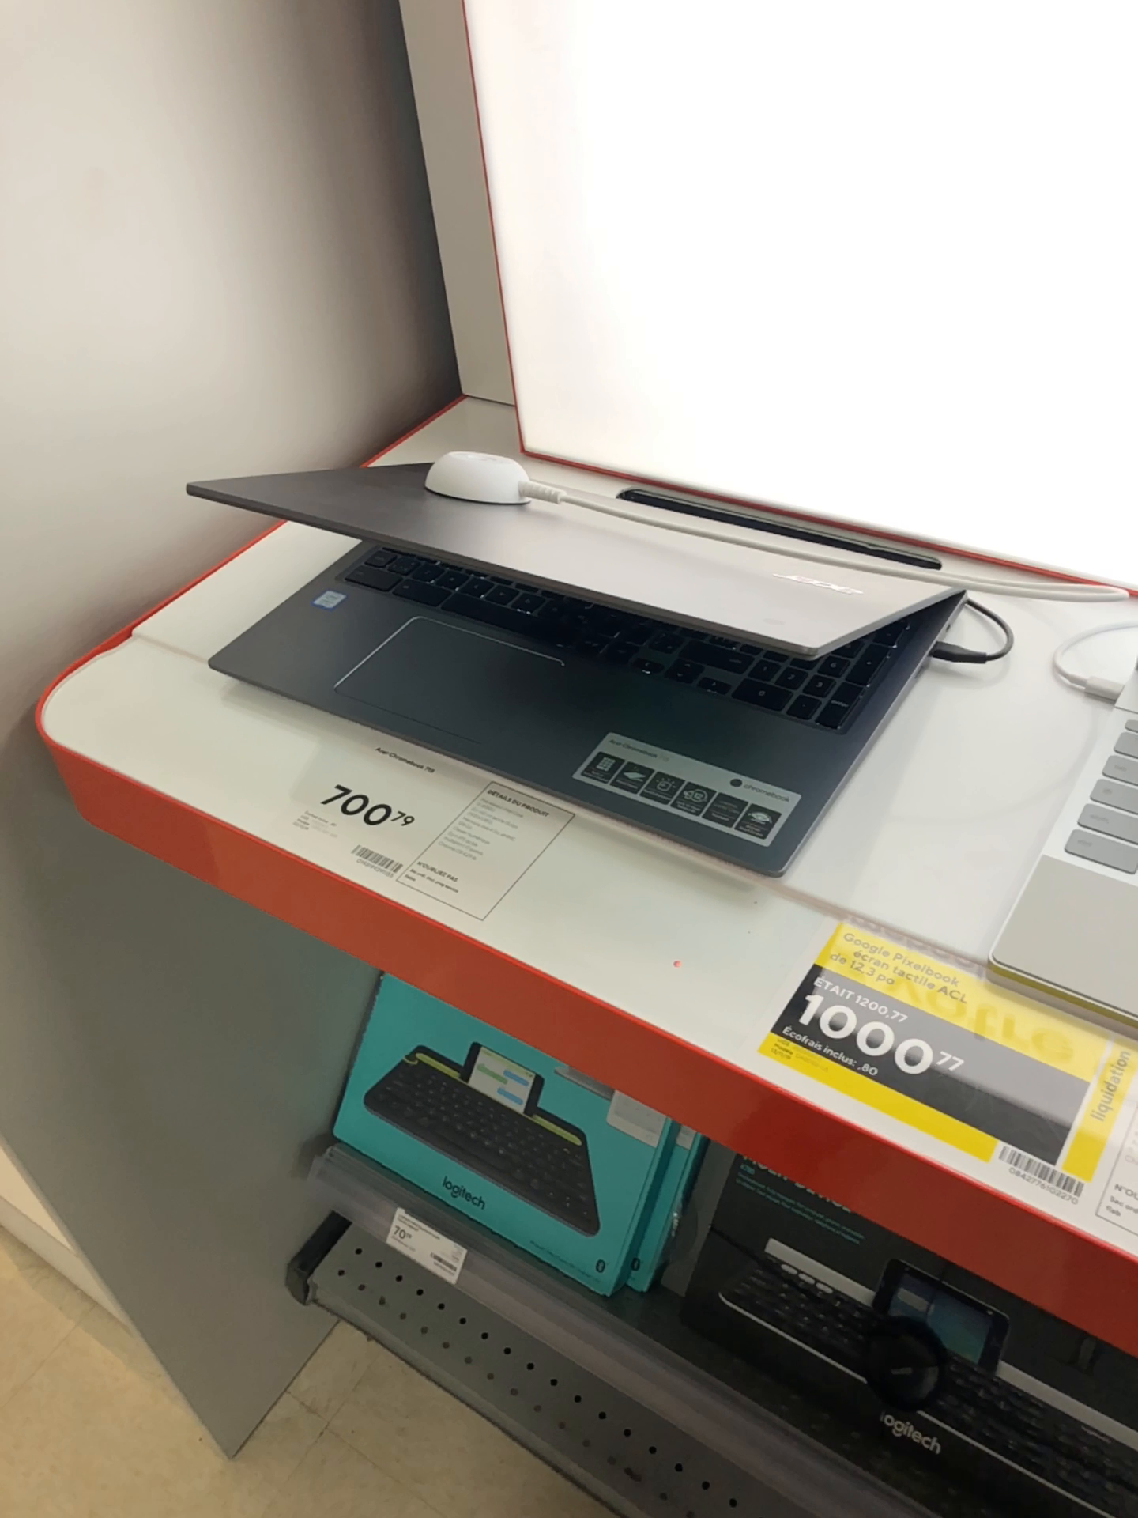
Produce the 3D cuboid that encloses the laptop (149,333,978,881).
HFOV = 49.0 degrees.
[{"bbox_3d":[-0.001,-0.108,0.672,0.357,0.105,0.236,20,47,27],"label":"laptop"}]
